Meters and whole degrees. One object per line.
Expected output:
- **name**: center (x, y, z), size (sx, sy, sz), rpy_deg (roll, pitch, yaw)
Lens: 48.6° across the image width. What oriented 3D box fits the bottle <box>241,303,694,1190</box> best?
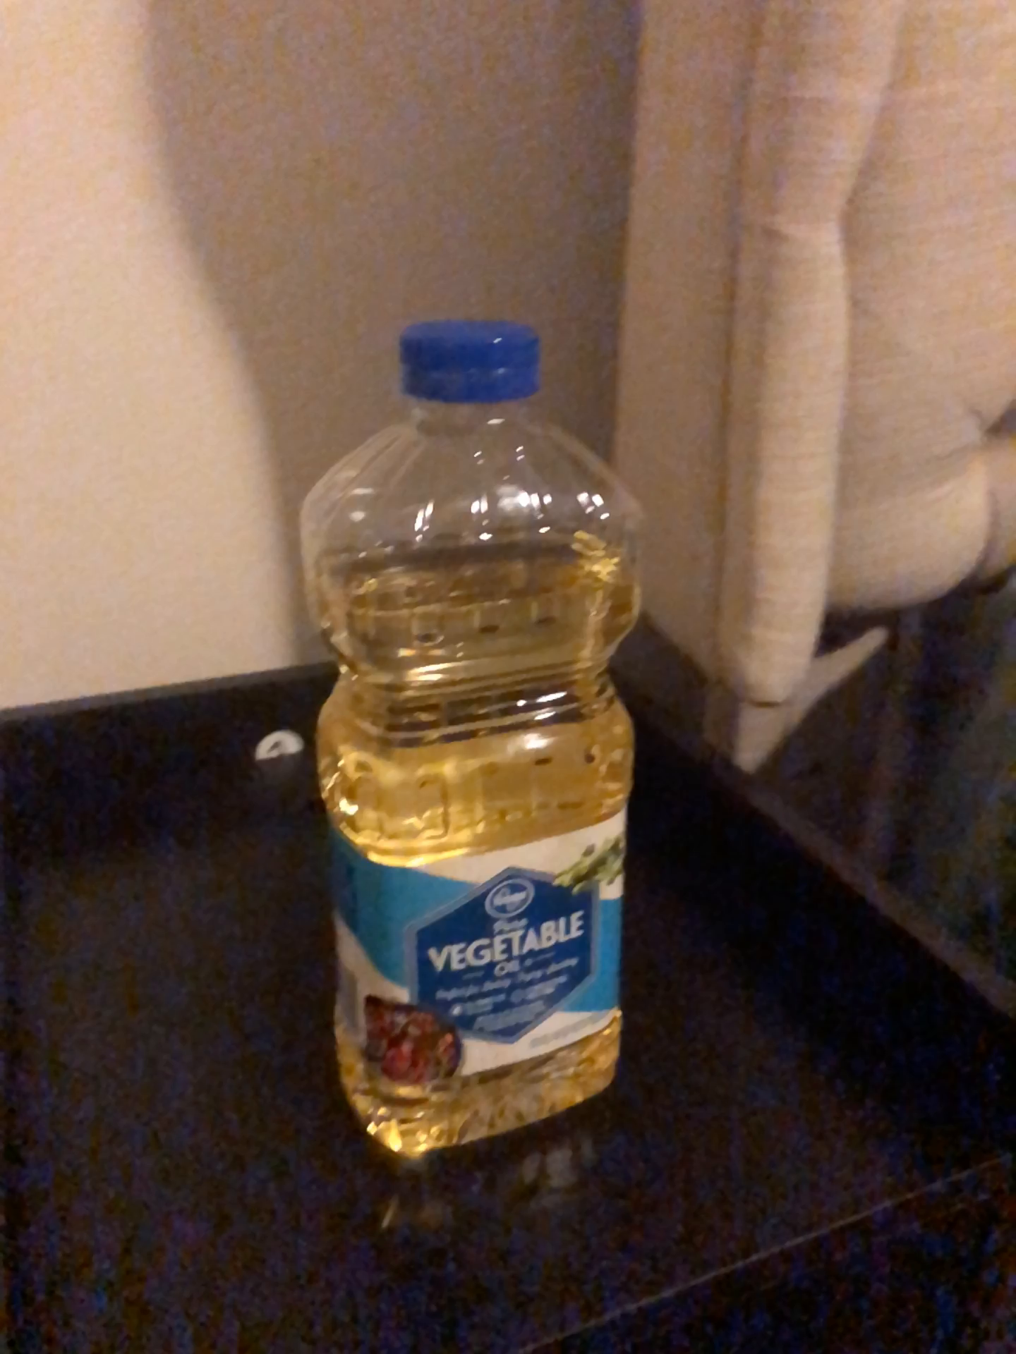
- **bottle**: center (-0.015, 0.023, 0.383), size (0.110, 0.275, 0.084), rpy_deg (-9, 25, -22)
